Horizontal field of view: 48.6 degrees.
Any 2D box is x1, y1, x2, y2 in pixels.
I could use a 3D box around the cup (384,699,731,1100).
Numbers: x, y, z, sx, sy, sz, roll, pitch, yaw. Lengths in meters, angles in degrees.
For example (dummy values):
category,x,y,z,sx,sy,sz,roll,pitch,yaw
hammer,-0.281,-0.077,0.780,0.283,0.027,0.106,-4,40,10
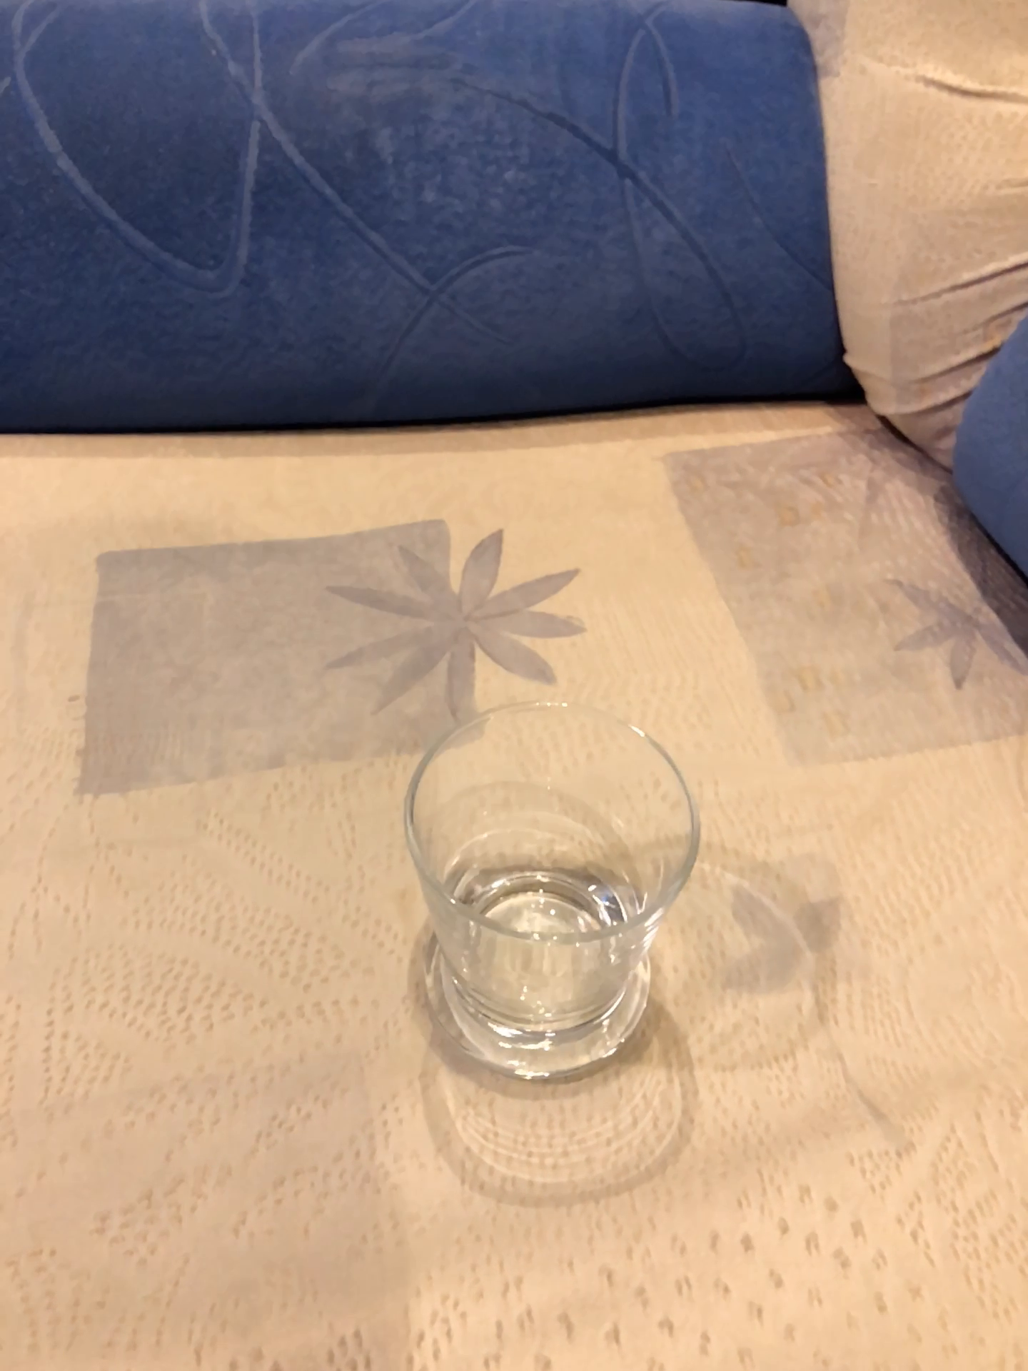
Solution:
category,x,y,z,sx,sy,sz,roll,pitch,yaw
cup,0.008,0.064,0.341,0.086,0.083,0.085,2,44,-1
